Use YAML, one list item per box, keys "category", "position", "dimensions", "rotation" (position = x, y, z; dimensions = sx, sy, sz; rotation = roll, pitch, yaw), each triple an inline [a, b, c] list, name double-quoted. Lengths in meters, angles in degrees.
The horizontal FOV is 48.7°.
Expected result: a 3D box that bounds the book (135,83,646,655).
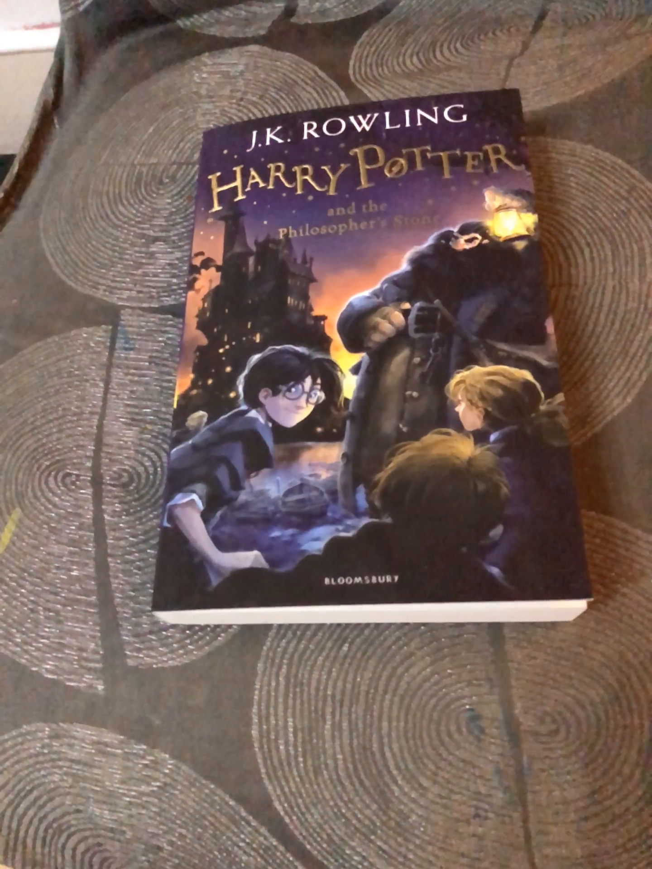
- category: "book"
  position: [0.017, -0.033, 0.261]
  dimensions: [0.140, 0.040, 0.211]
  rotation: [-2, 65, 3]
